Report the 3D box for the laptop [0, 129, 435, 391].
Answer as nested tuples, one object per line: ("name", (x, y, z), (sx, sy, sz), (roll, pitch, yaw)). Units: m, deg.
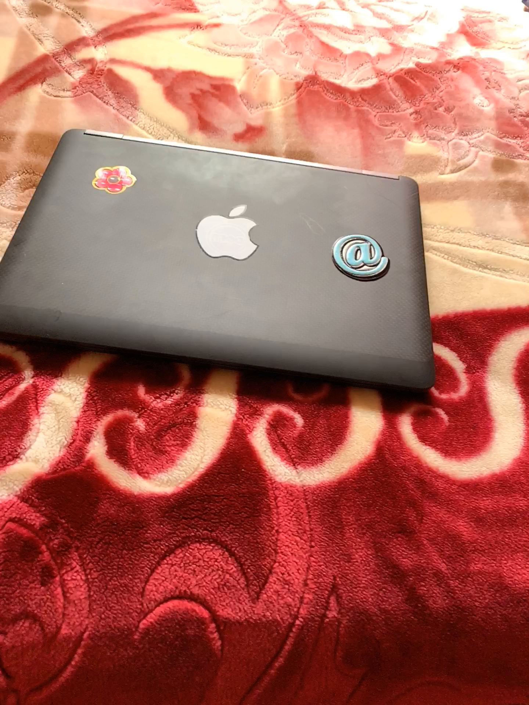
("laptop", (-0.028, -0.083, 0.409), (0.299, 0.001, 0.209), (8, 56, -1))
